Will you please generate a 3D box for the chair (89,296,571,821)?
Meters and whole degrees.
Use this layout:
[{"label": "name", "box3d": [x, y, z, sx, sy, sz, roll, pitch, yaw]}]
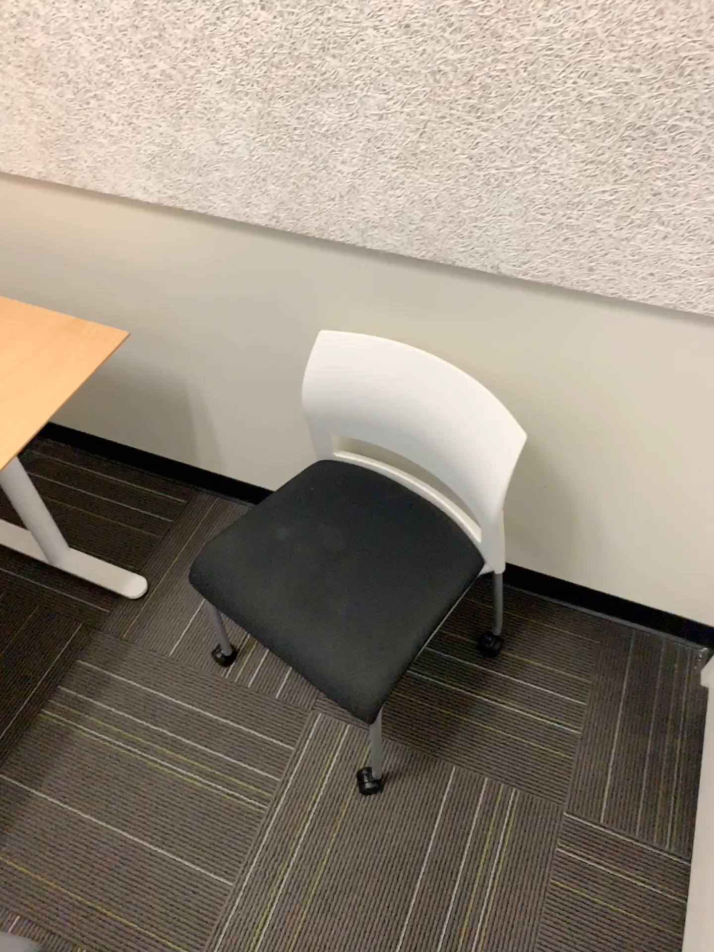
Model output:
[{"label": "chair", "box3d": [-0.030, 0.179, 1.485, 0.582, 0.737, 0.541, 31, 58, 25]}]
